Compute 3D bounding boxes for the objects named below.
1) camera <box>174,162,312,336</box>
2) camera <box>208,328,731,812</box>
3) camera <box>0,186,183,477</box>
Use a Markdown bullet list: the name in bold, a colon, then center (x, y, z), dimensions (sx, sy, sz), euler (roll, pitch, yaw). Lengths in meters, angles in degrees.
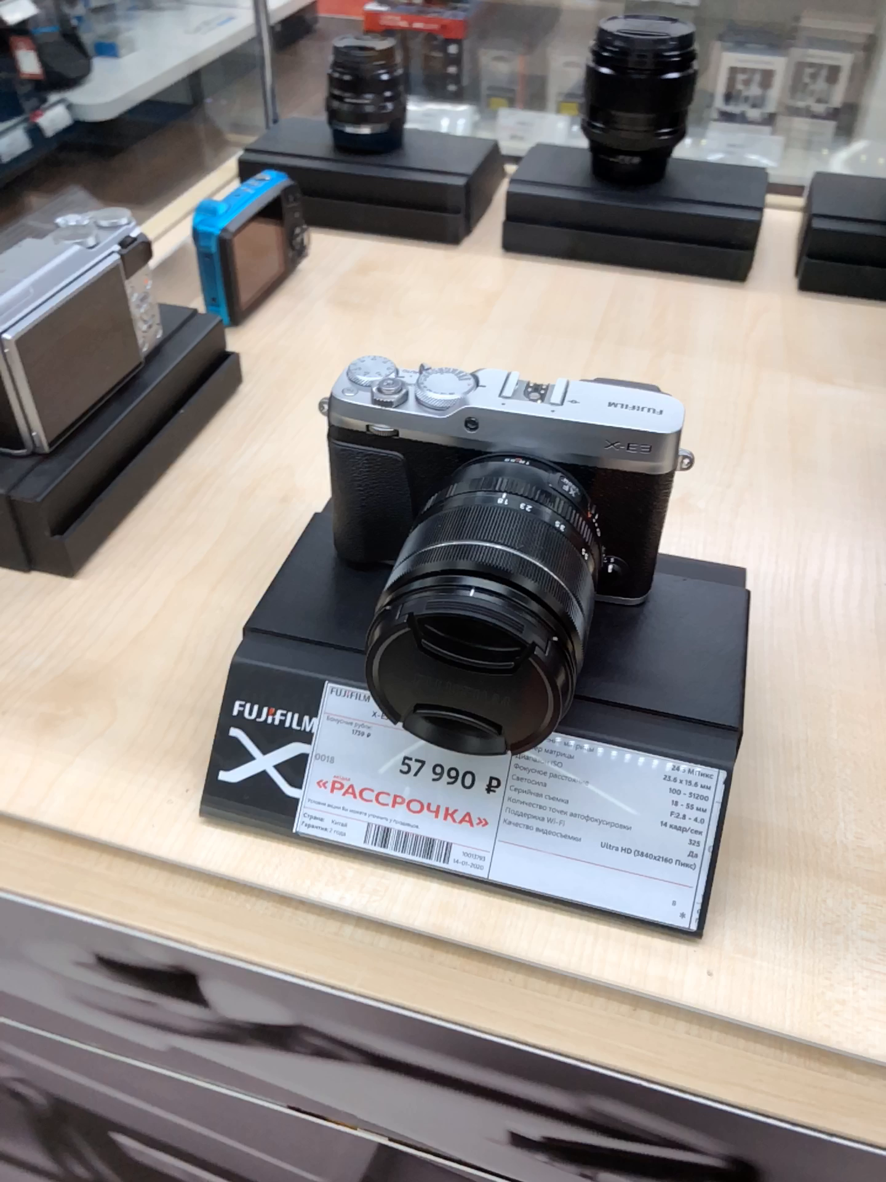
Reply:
- **camera**: center (-0.120, -0.213, 0.607), dimensions (0.036, 0.064, 0.101), euler (15, 44, 12)
- **camera**: center (0.015, -0.014, 0.320), dimensions (0.131, 0.080, 0.116), euler (12, 43, 11)
- **camera**: center (-0.190, -0.123, 0.448), dimensions (0.077, 0.068, 0.132), euler (11, 43, 11)
